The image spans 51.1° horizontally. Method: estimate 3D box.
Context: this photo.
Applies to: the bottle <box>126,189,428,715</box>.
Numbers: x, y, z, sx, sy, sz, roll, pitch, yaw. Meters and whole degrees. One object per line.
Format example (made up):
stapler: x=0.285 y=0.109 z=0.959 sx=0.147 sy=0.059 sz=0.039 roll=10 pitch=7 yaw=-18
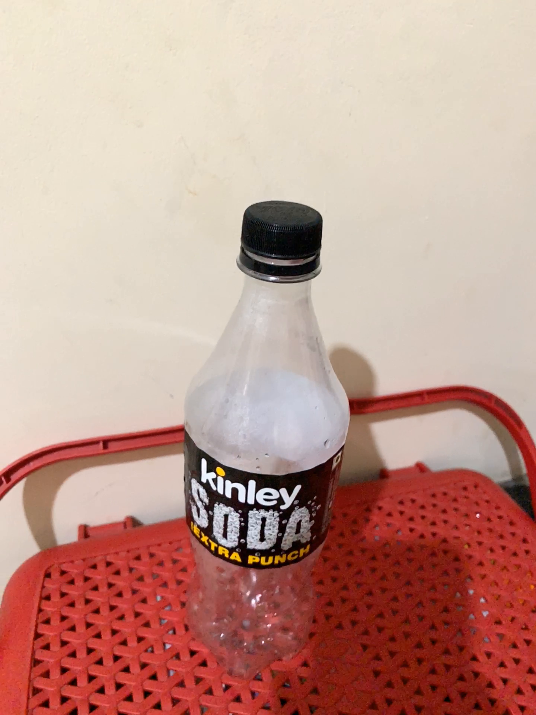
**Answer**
bottle: x=-0.001 y=0.057 z=0.240 sx=0.080 sy=0.228 sz=0.071 roll=11 pitch=36 yaw=7
